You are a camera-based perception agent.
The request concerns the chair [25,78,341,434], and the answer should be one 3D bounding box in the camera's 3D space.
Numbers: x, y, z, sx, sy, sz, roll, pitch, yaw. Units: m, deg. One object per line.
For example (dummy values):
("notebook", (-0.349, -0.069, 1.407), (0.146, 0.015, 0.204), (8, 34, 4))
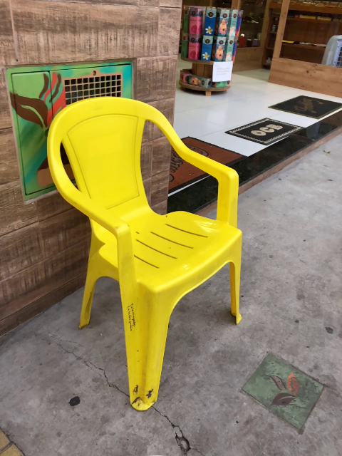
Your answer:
("chair", (0.039, 0.003, 1.157), (0.541, 0.744, 0.643), (27, 37, 34))
